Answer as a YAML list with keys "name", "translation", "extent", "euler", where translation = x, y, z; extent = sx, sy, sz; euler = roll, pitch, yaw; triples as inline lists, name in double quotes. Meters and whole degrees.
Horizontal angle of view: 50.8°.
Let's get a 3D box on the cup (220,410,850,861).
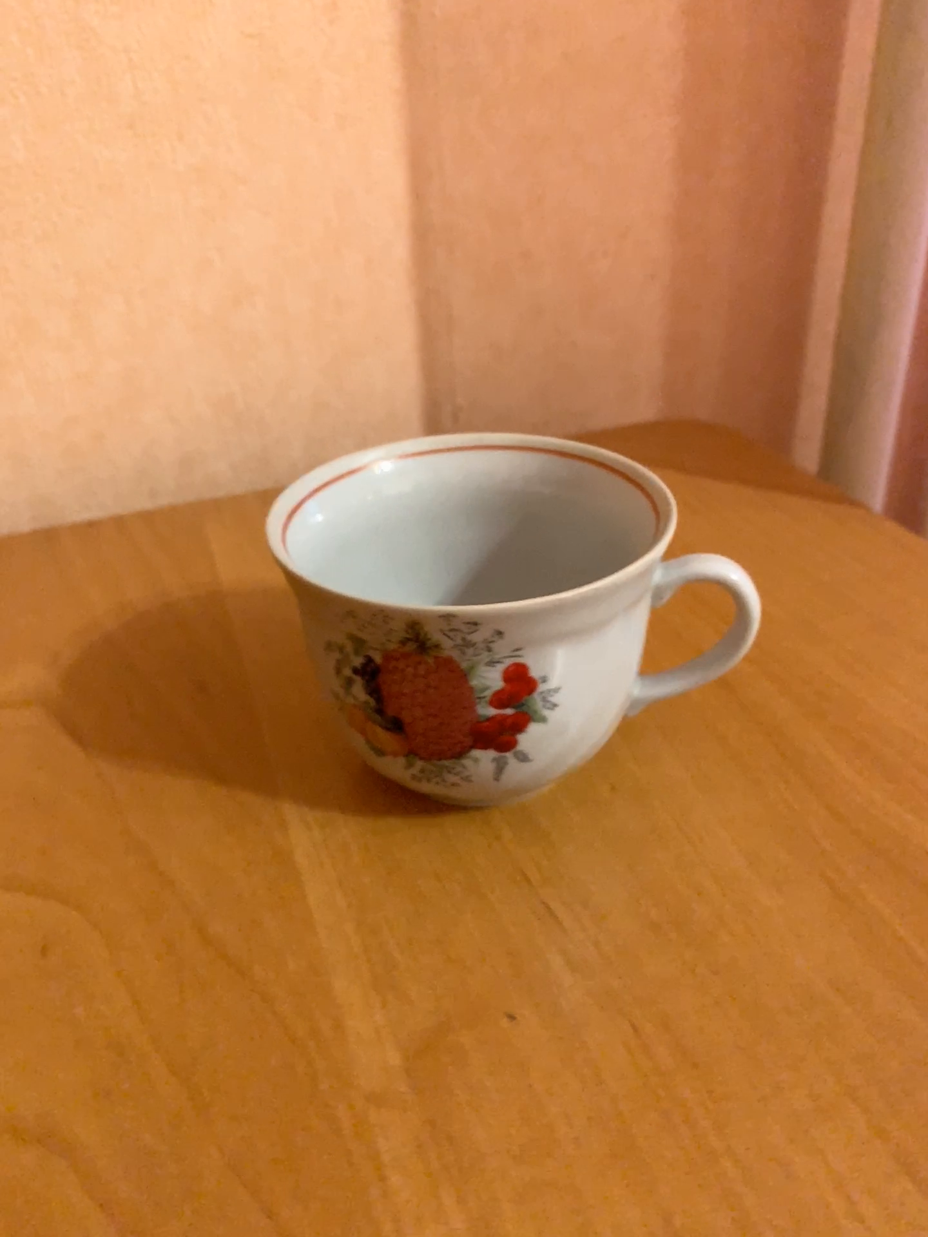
- name: "cup"
  translation: [0.011, -0.002, 0.217]
  extent: [0.108, 0.056, 0.083]
  euler: [-5, 31, -2]
